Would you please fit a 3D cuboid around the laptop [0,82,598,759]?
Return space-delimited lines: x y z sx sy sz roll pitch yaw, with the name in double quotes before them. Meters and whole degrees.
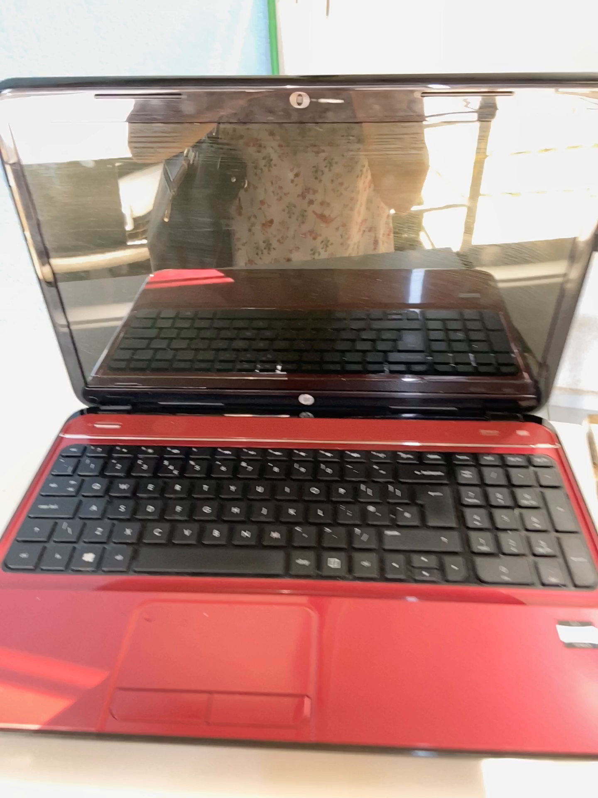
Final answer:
"laptop" -0.008 -0.007 0.305 0.356 0.220 0.228 1 37 5
